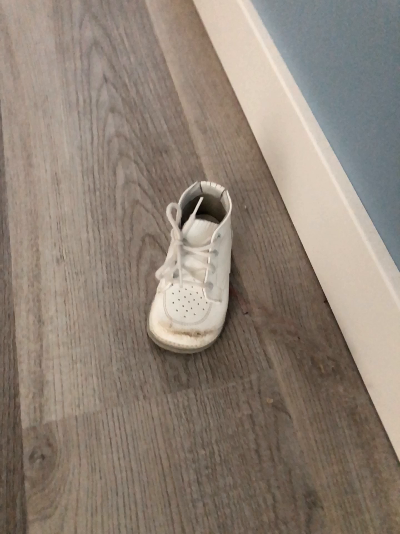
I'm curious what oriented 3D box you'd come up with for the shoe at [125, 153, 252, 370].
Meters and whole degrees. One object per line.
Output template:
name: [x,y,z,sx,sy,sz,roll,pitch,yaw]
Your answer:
shoe: [-0.005,-0.008,0.342,0.060,0.060,0.150,12,58,2]
